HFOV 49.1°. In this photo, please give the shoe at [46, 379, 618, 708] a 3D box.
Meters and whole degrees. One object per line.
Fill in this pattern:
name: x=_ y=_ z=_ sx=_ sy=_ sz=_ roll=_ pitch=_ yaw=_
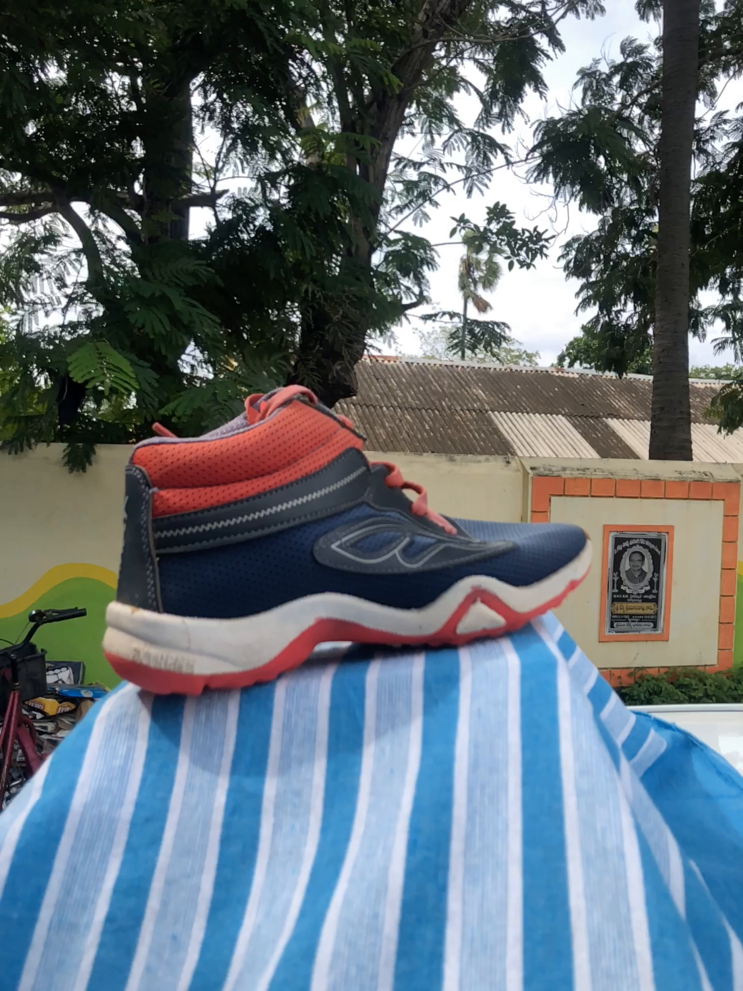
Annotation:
shoe: x=-0.010 y=0.016 z=0.410 sx=0.271 sy=0.120 sz=0.100 roll=0 pitch=2 yaw=-32
